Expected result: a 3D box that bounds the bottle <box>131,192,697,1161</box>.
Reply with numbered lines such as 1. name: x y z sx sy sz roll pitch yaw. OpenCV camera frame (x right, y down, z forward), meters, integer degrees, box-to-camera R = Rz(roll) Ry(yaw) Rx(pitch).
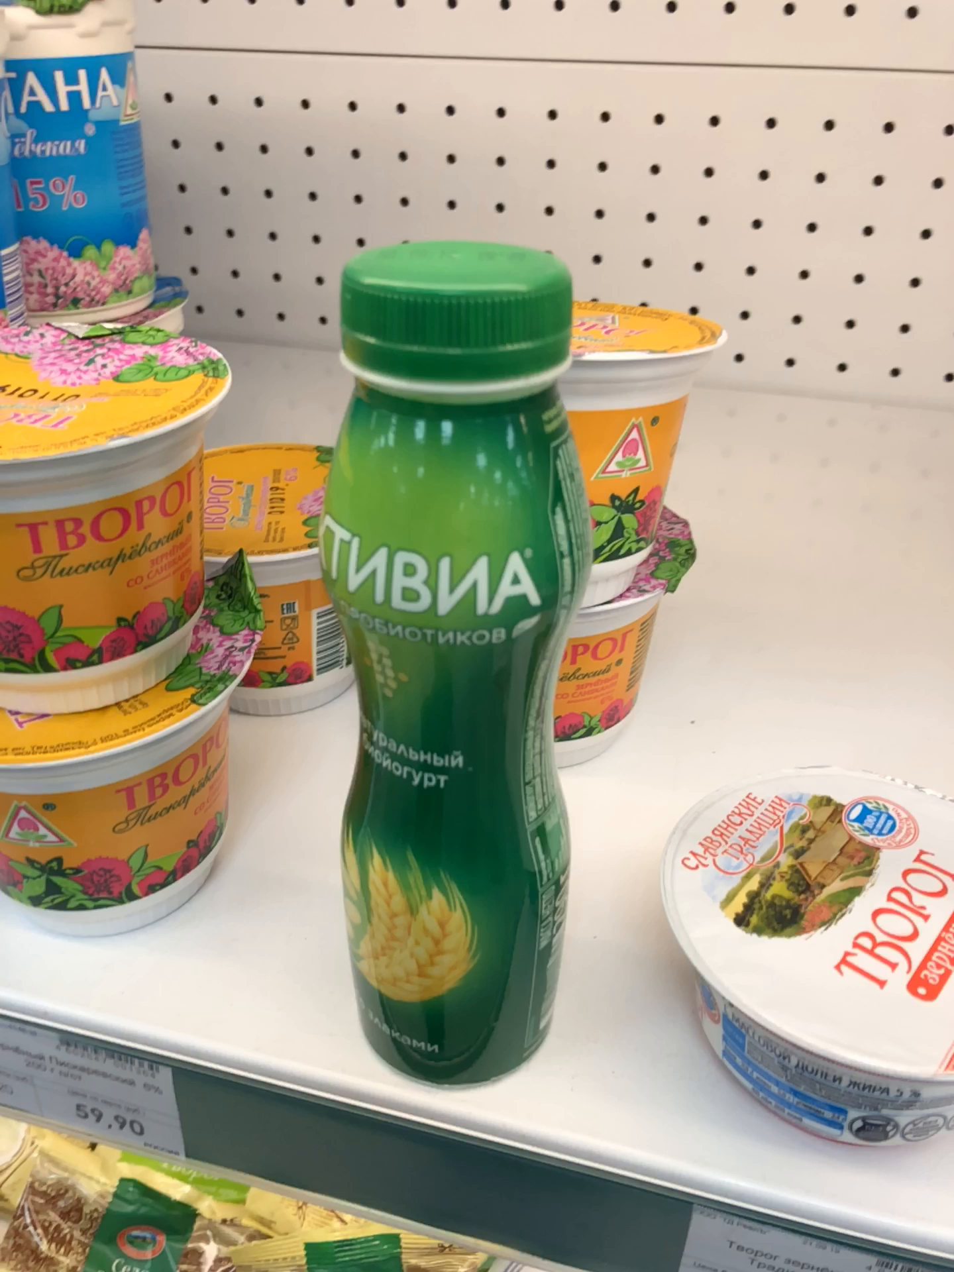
1. bottle: -0.009 0.014 0.220 0.070 0.183 0.060 18 37 26
